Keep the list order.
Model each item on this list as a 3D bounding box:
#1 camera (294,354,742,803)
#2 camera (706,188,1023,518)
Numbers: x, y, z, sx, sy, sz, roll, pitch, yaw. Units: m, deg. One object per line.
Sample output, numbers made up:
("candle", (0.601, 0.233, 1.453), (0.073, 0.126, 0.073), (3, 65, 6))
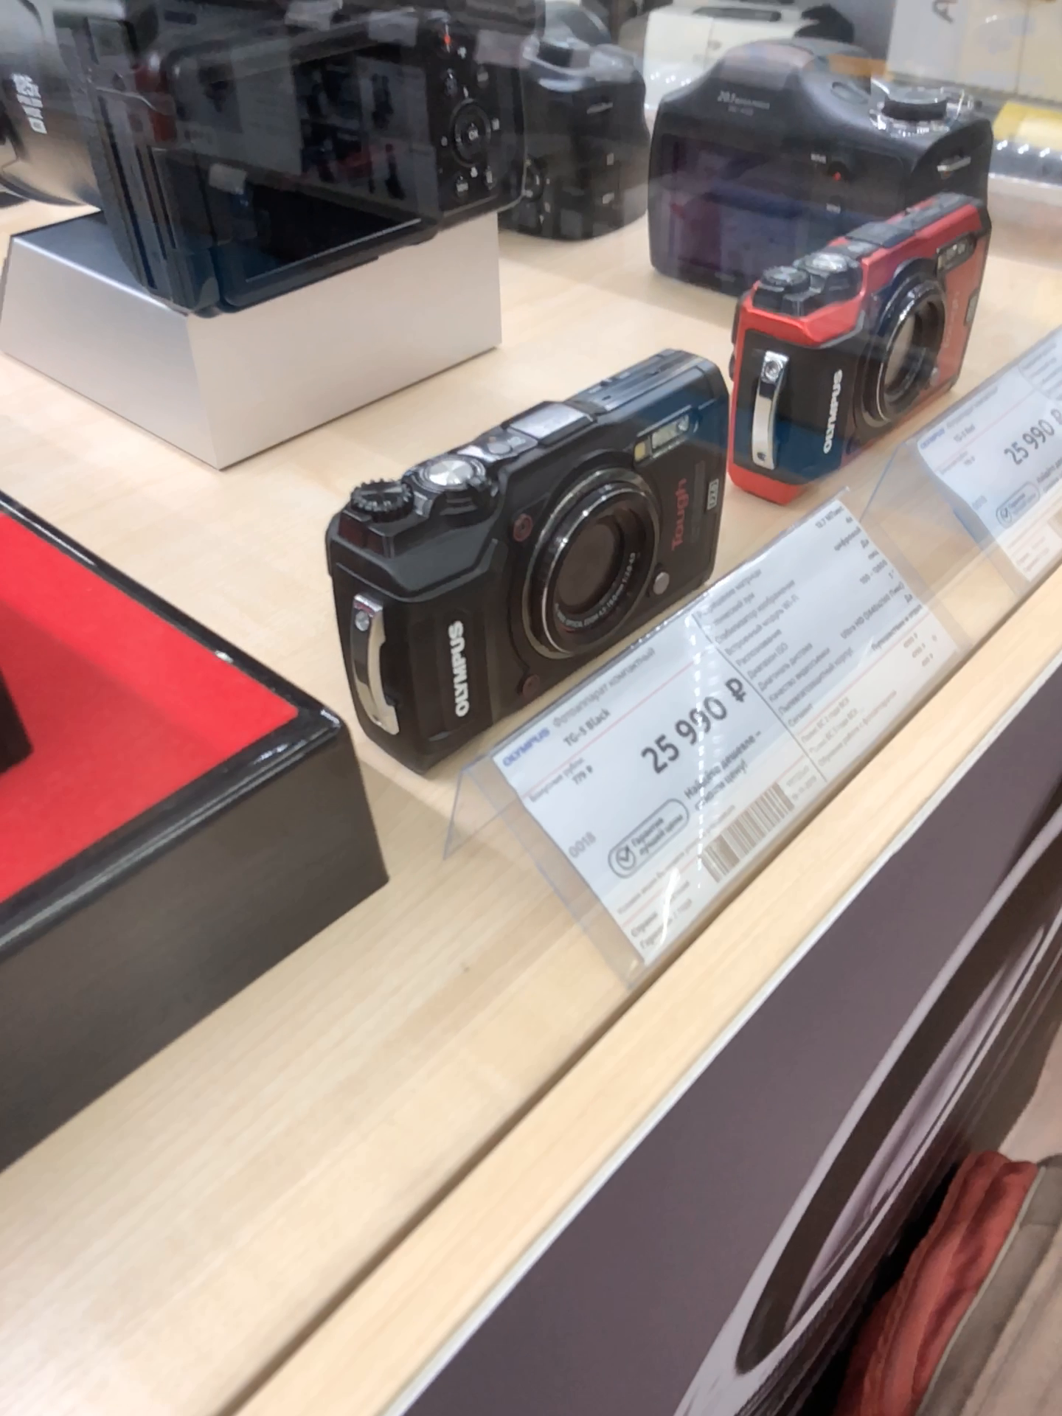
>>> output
("camera", (0.002, -0.036, 0.287), (0.030, 0.060, 0.117), (30, 49, 33))
("camera", (0.104, -0.113, 0.361), (0.030, 0.060, 0.117), (30, 49, 33))
